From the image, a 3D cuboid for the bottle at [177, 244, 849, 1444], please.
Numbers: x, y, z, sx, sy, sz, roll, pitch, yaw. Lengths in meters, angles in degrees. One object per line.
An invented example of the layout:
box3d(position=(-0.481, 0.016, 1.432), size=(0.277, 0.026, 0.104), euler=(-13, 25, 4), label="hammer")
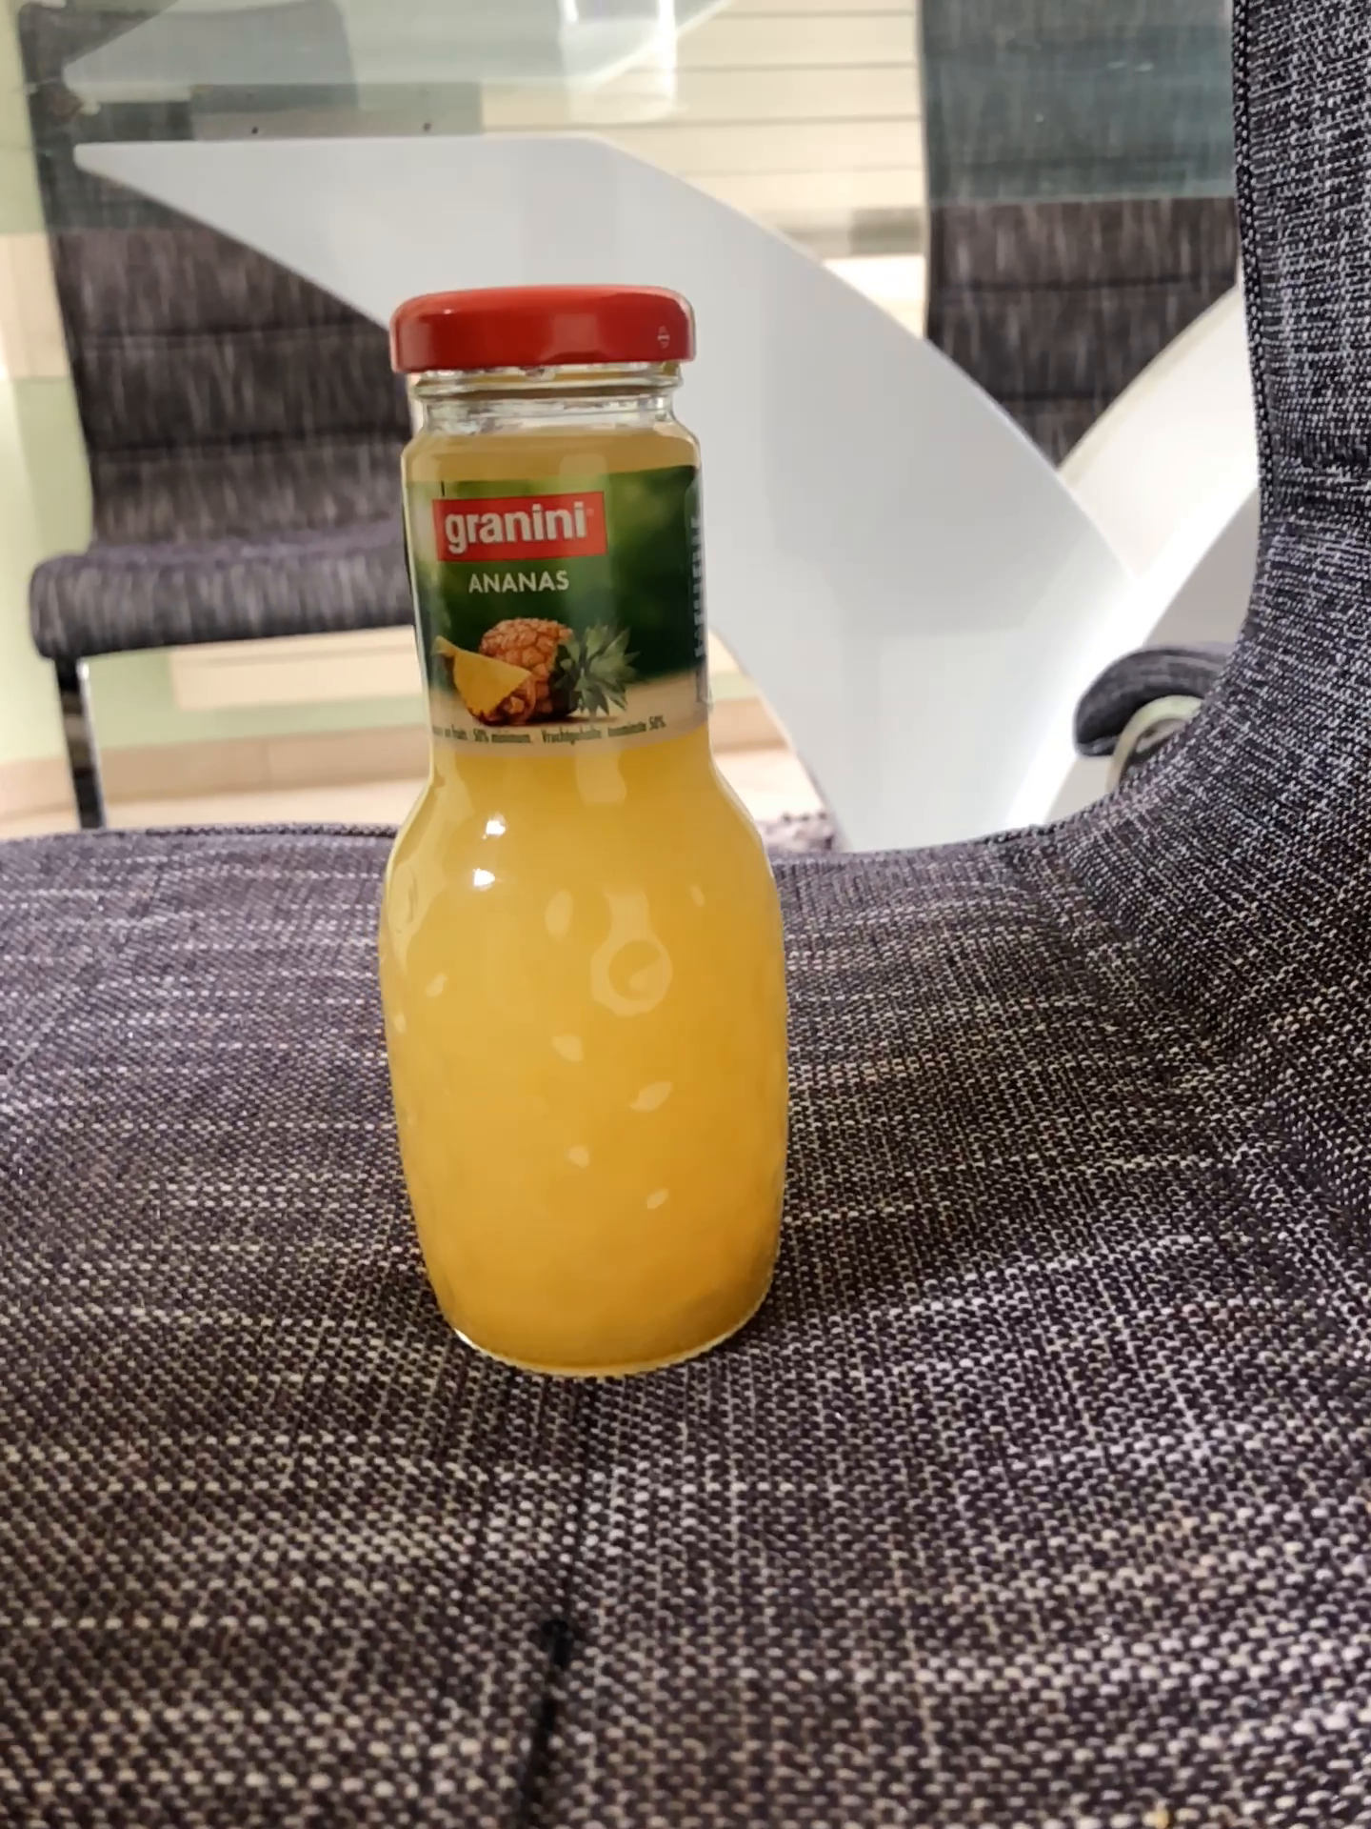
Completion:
box3d(position=(-0.014, -0.011, 0.222), size=(0.070, 0.149, 0.070), euler=(-3, 17, 1), label="bottle")
